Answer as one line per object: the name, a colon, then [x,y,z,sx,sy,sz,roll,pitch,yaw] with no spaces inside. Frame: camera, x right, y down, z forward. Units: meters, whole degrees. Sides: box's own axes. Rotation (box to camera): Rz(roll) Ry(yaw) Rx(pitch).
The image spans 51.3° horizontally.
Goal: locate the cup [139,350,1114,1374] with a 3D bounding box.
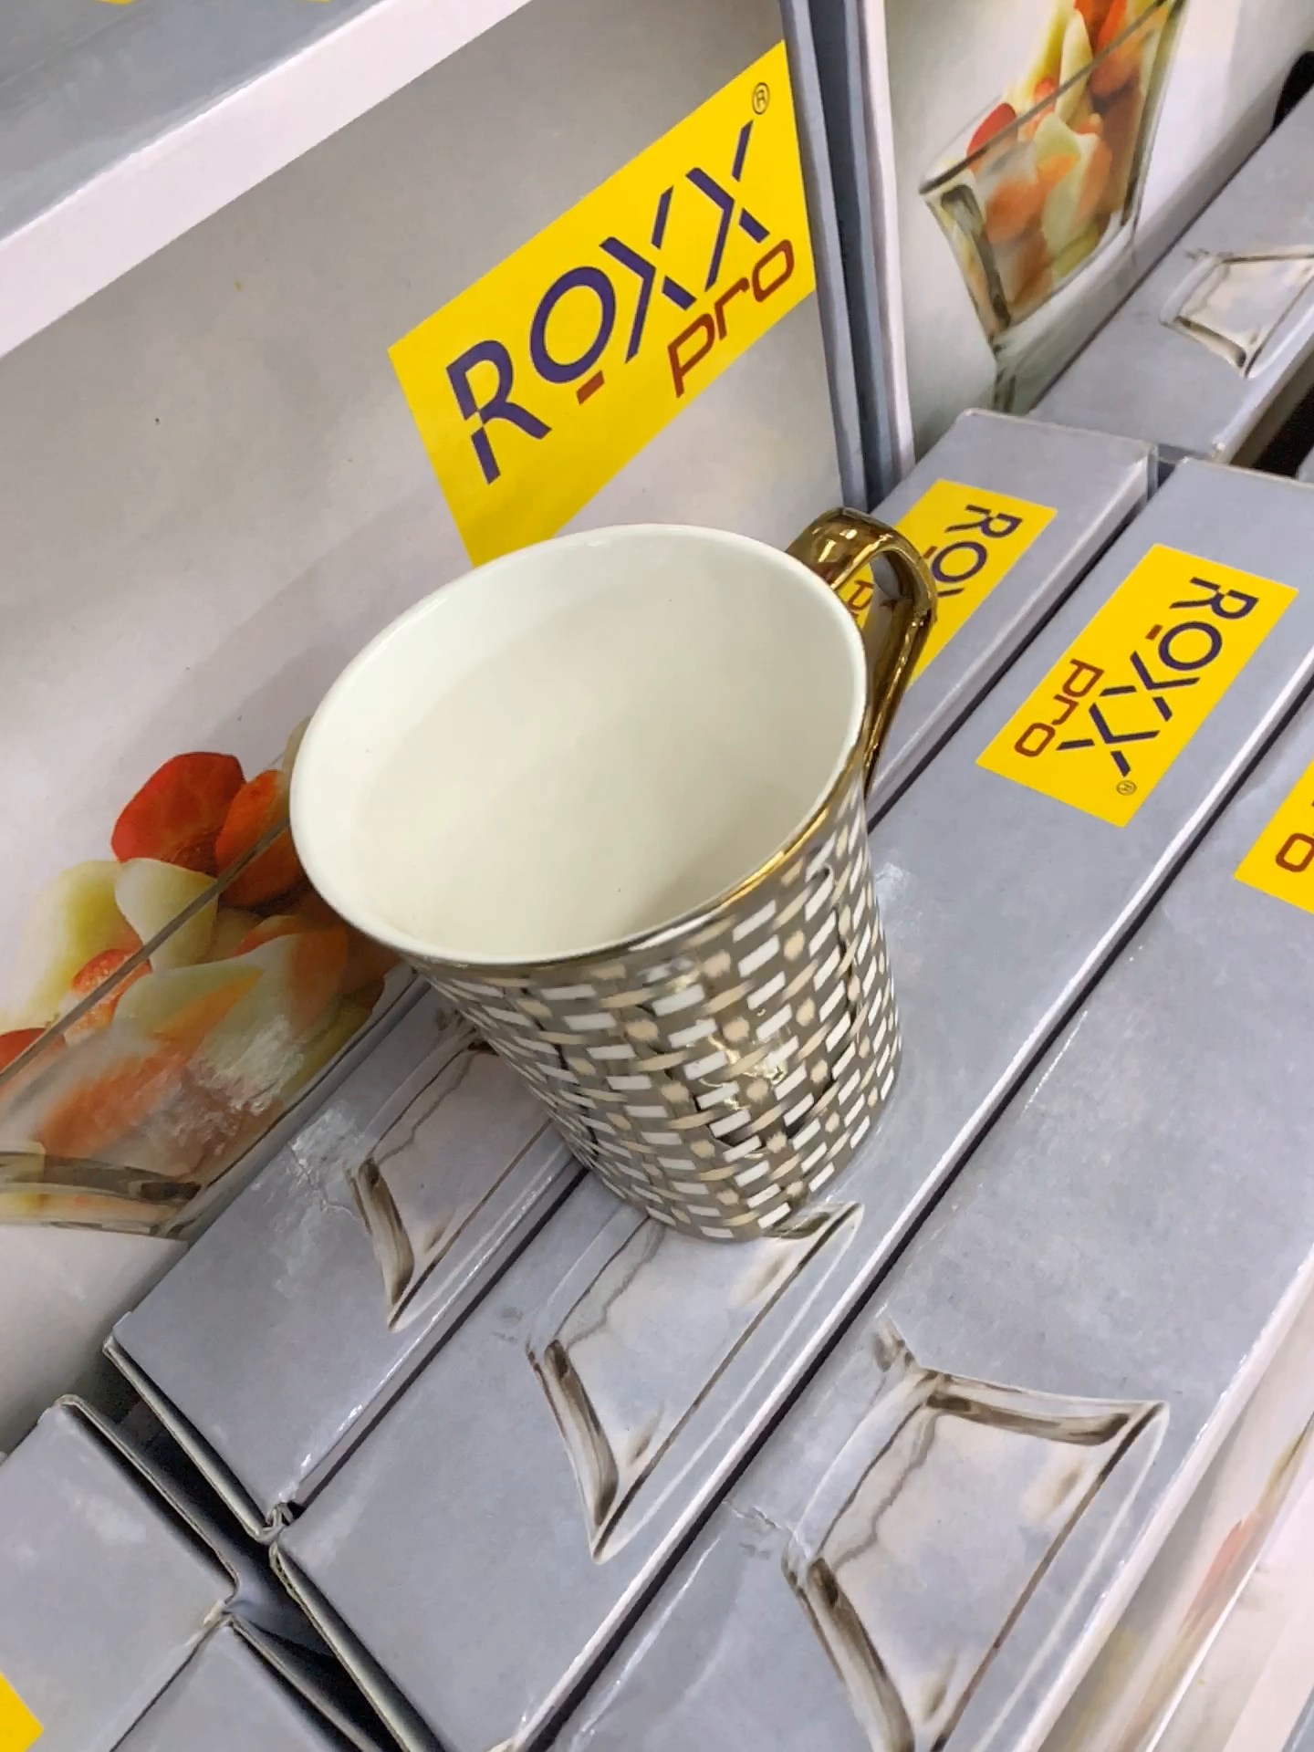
cup: [0.004,-0.006,0.222,0.083,0.092,0.113,30,63,33]
